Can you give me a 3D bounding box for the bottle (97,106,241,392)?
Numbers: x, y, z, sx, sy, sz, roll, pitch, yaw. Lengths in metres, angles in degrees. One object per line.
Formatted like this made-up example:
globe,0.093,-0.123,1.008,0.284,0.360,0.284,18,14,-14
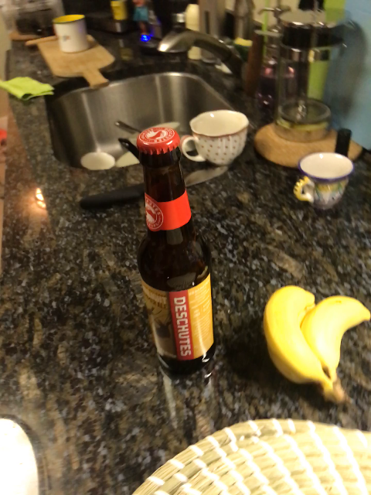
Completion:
bottle,-0.003,0.013,0.291,0.060,0.199,0.060,-4,40,3
